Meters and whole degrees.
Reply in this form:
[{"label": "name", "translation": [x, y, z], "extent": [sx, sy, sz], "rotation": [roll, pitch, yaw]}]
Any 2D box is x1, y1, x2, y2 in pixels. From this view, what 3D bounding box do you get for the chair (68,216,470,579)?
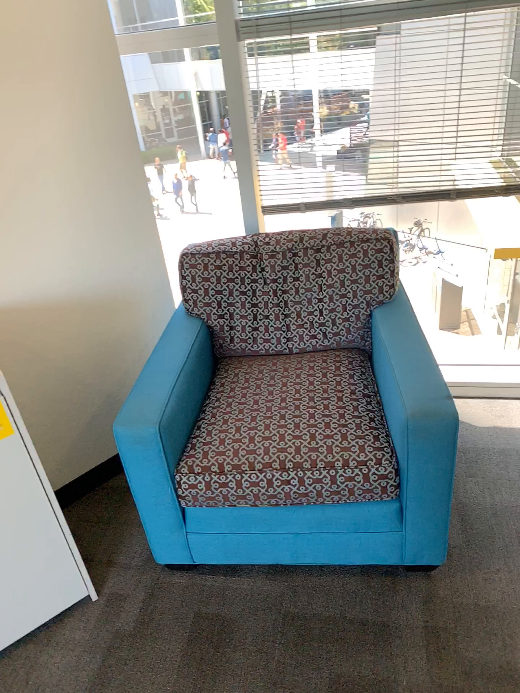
[{"label": "chair", "translation": [0.077, 0.131, 1.810], "extent": [0.930, 0.805, 0.915], "rotation": [-3, 31, 7]}]
